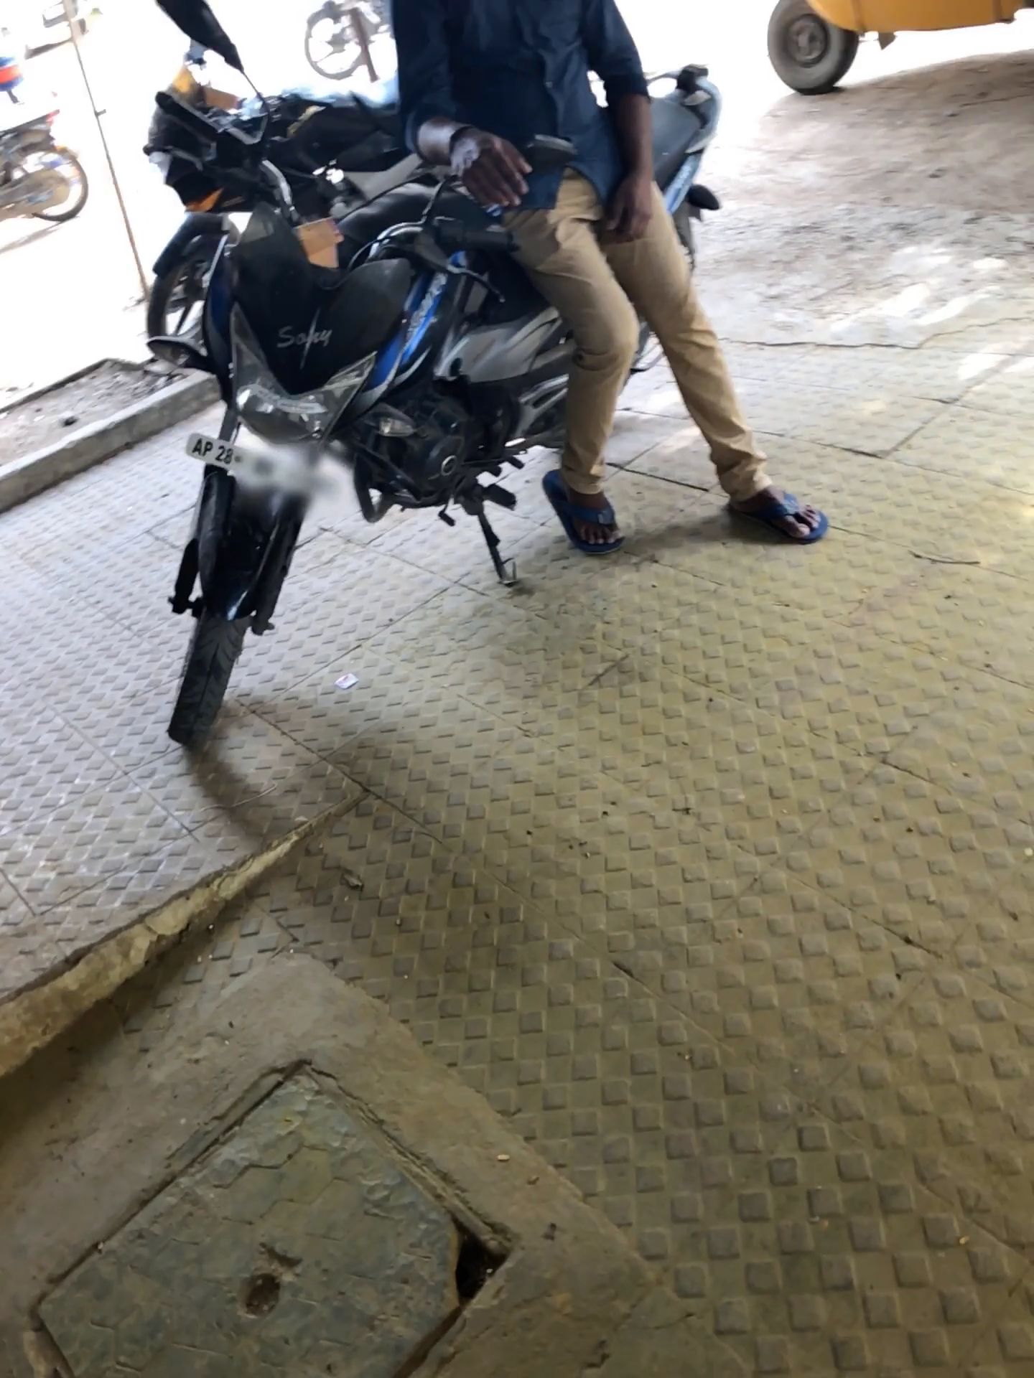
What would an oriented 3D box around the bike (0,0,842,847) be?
[{"bbox_3d":[-0.072,-0.779,2.392,0.784,1.175,1.751,13,47,35],"label":"bike"}]
